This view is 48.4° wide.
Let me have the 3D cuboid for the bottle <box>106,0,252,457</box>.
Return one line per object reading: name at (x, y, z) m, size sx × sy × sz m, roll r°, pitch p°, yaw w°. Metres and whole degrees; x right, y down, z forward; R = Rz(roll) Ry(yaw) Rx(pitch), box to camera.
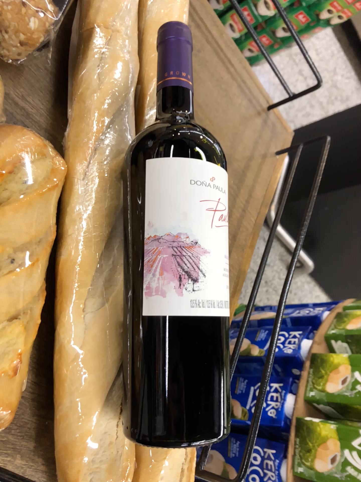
bottle at (-0.003, -0.027, 0.282) m, size 0.070 × 0.060 × 0.300 m, roll 10°, pitch 74°, yaw -44°
